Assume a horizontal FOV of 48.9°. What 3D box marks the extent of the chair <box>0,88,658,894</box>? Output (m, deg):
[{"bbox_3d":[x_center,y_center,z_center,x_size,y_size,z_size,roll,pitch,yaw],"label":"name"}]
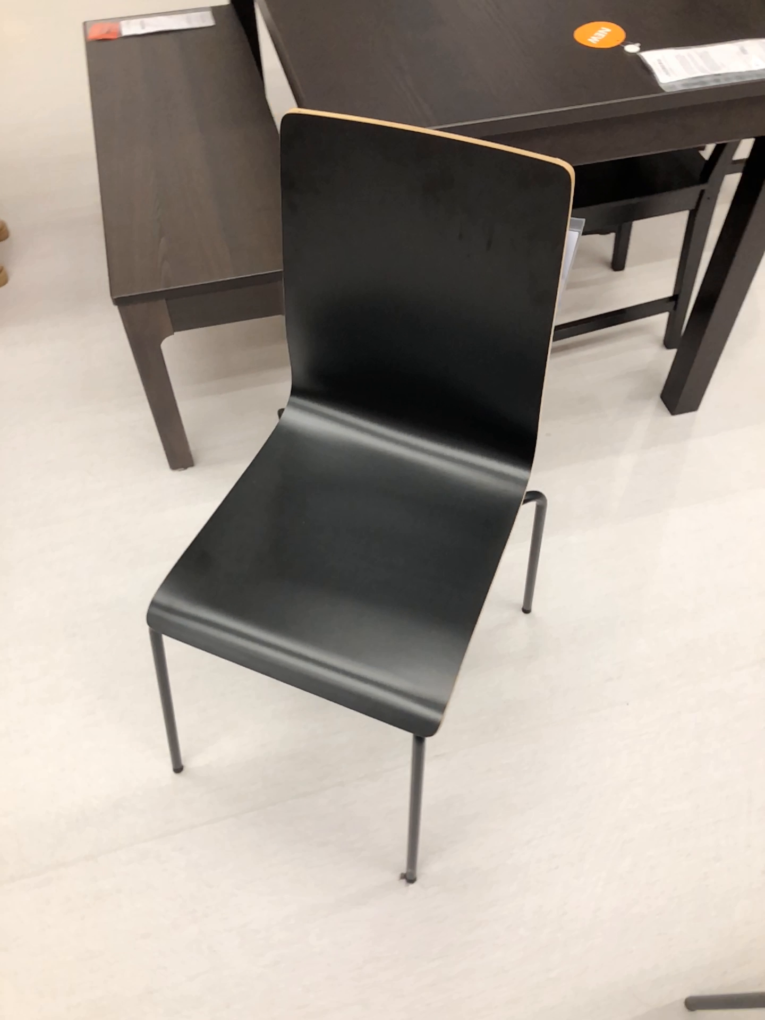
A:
[{"bbox_3d":[-0.036,0.031,1.070,0.451,0.806,0.532,19,55,15],"label":"chair"}]
